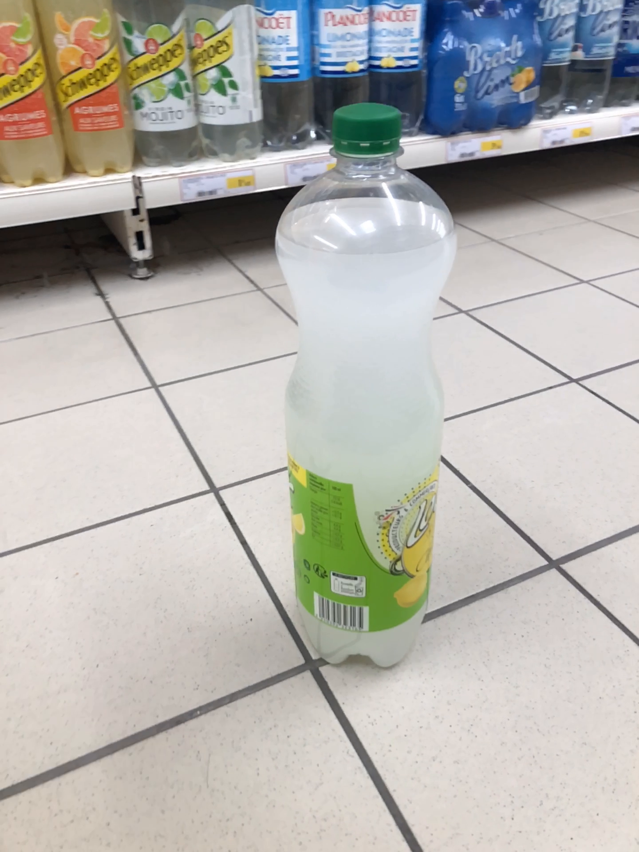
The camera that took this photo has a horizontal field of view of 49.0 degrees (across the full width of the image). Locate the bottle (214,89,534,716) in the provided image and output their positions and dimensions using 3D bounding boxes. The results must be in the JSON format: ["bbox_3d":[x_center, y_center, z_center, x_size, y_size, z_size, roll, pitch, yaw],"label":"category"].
[{"bbox_3d":[0.030,-0.002,0.375,0.100,0.308,0.101,-1,32,1],"label":"bottle"}]
